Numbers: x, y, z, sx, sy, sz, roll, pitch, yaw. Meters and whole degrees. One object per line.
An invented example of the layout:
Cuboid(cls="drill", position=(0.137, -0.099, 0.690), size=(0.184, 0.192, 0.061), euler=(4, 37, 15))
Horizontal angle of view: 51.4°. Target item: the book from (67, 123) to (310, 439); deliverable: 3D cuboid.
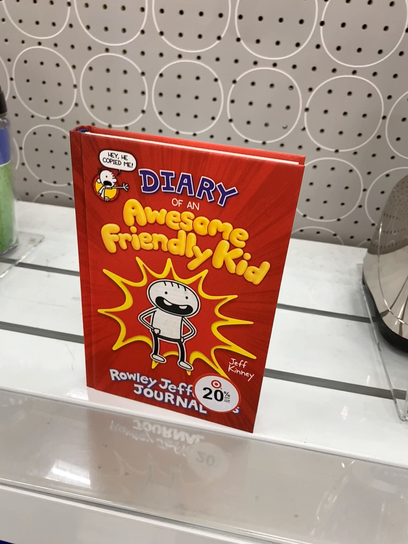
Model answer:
Cuboid(cls="book", position=(-0.017, 0.015, 0.298), size=(0.140, 0.209, 0.030), euler=(11, 29, 11))
